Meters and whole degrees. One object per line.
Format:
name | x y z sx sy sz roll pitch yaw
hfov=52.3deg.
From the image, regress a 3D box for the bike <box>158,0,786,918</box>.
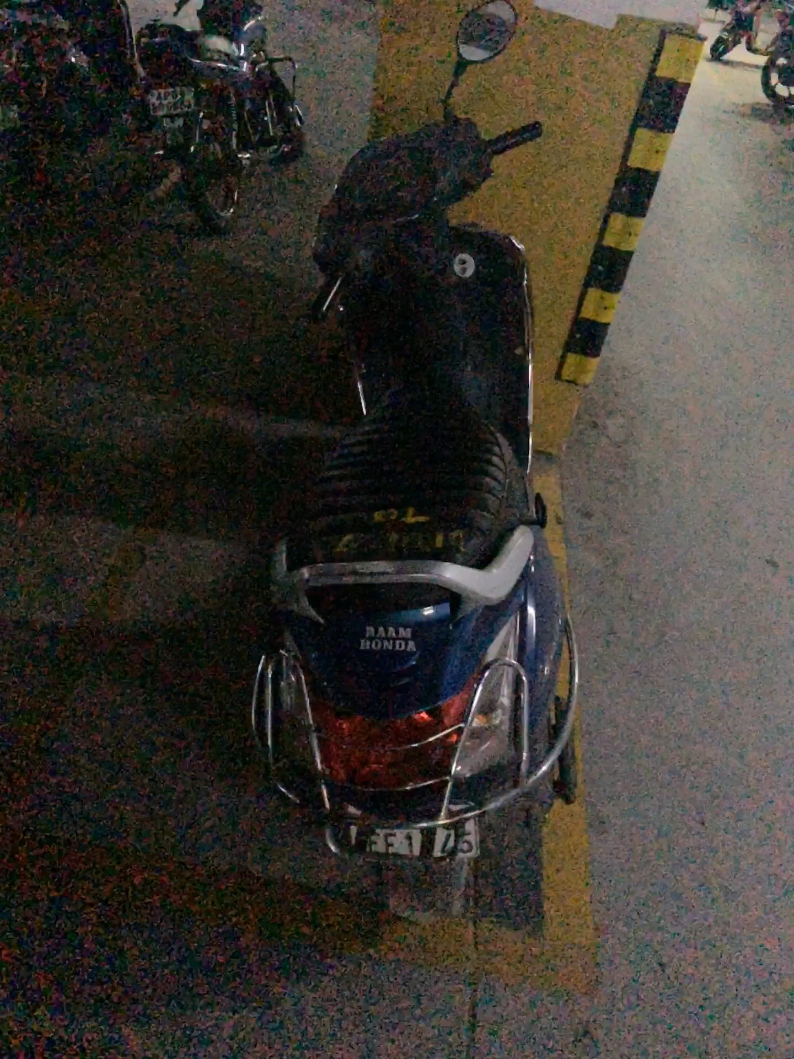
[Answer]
bike | -0.022 -0.209 1.538 0.630 1.063 1.275 4 46 -8
